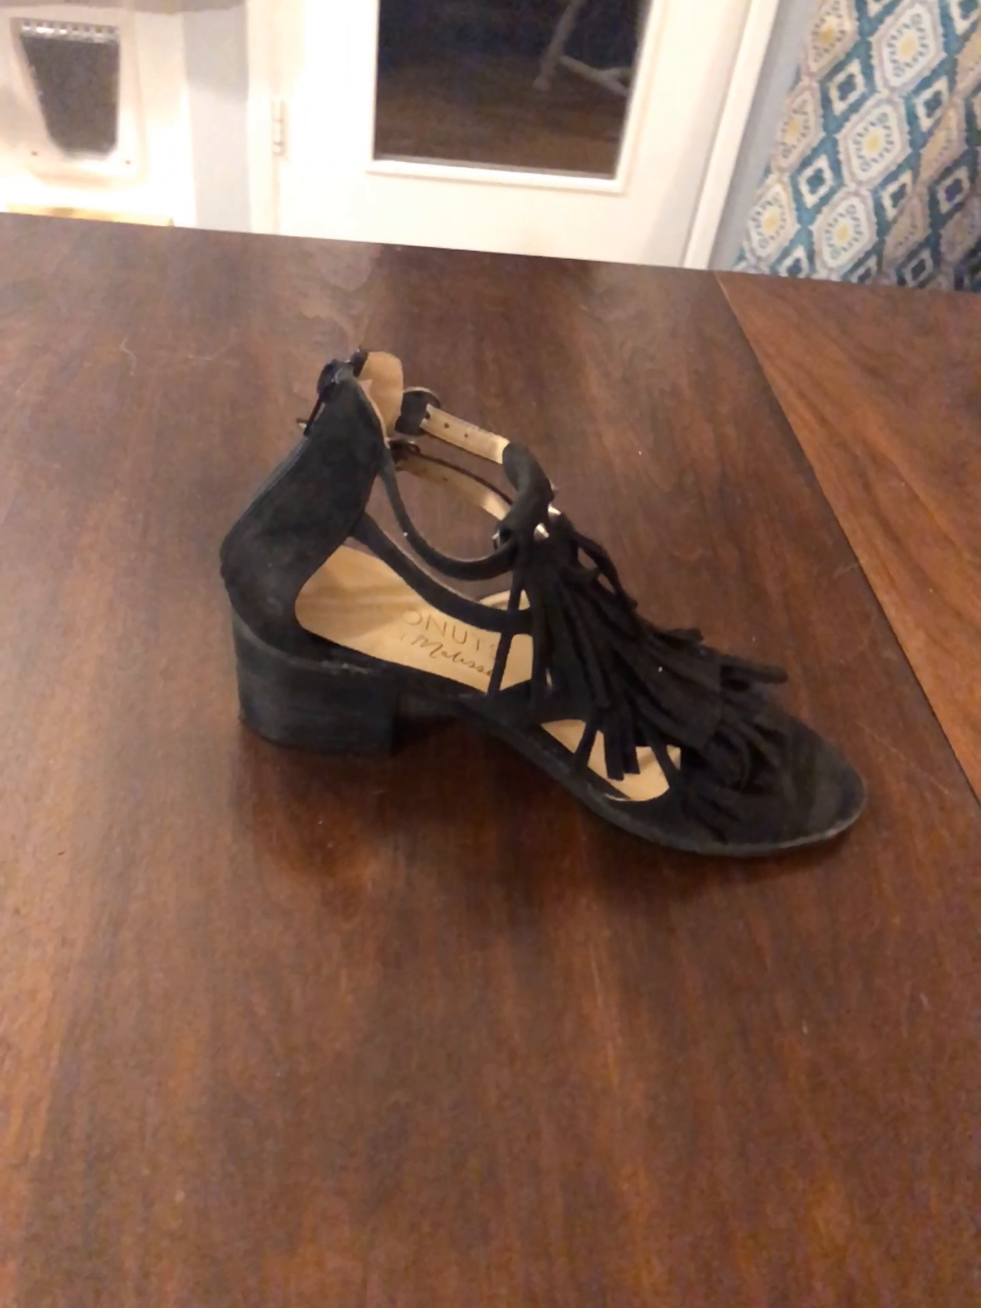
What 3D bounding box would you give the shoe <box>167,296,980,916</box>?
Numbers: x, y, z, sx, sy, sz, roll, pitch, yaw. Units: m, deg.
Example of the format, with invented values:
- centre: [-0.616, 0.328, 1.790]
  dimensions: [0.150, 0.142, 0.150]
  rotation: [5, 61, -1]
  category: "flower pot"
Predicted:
- centre: [0.024, -0.014, 0.392]
  dimensions: [0.240, 0.150, 0.100]
  rotation: [12, 44, 2]
  category: "shoe"
